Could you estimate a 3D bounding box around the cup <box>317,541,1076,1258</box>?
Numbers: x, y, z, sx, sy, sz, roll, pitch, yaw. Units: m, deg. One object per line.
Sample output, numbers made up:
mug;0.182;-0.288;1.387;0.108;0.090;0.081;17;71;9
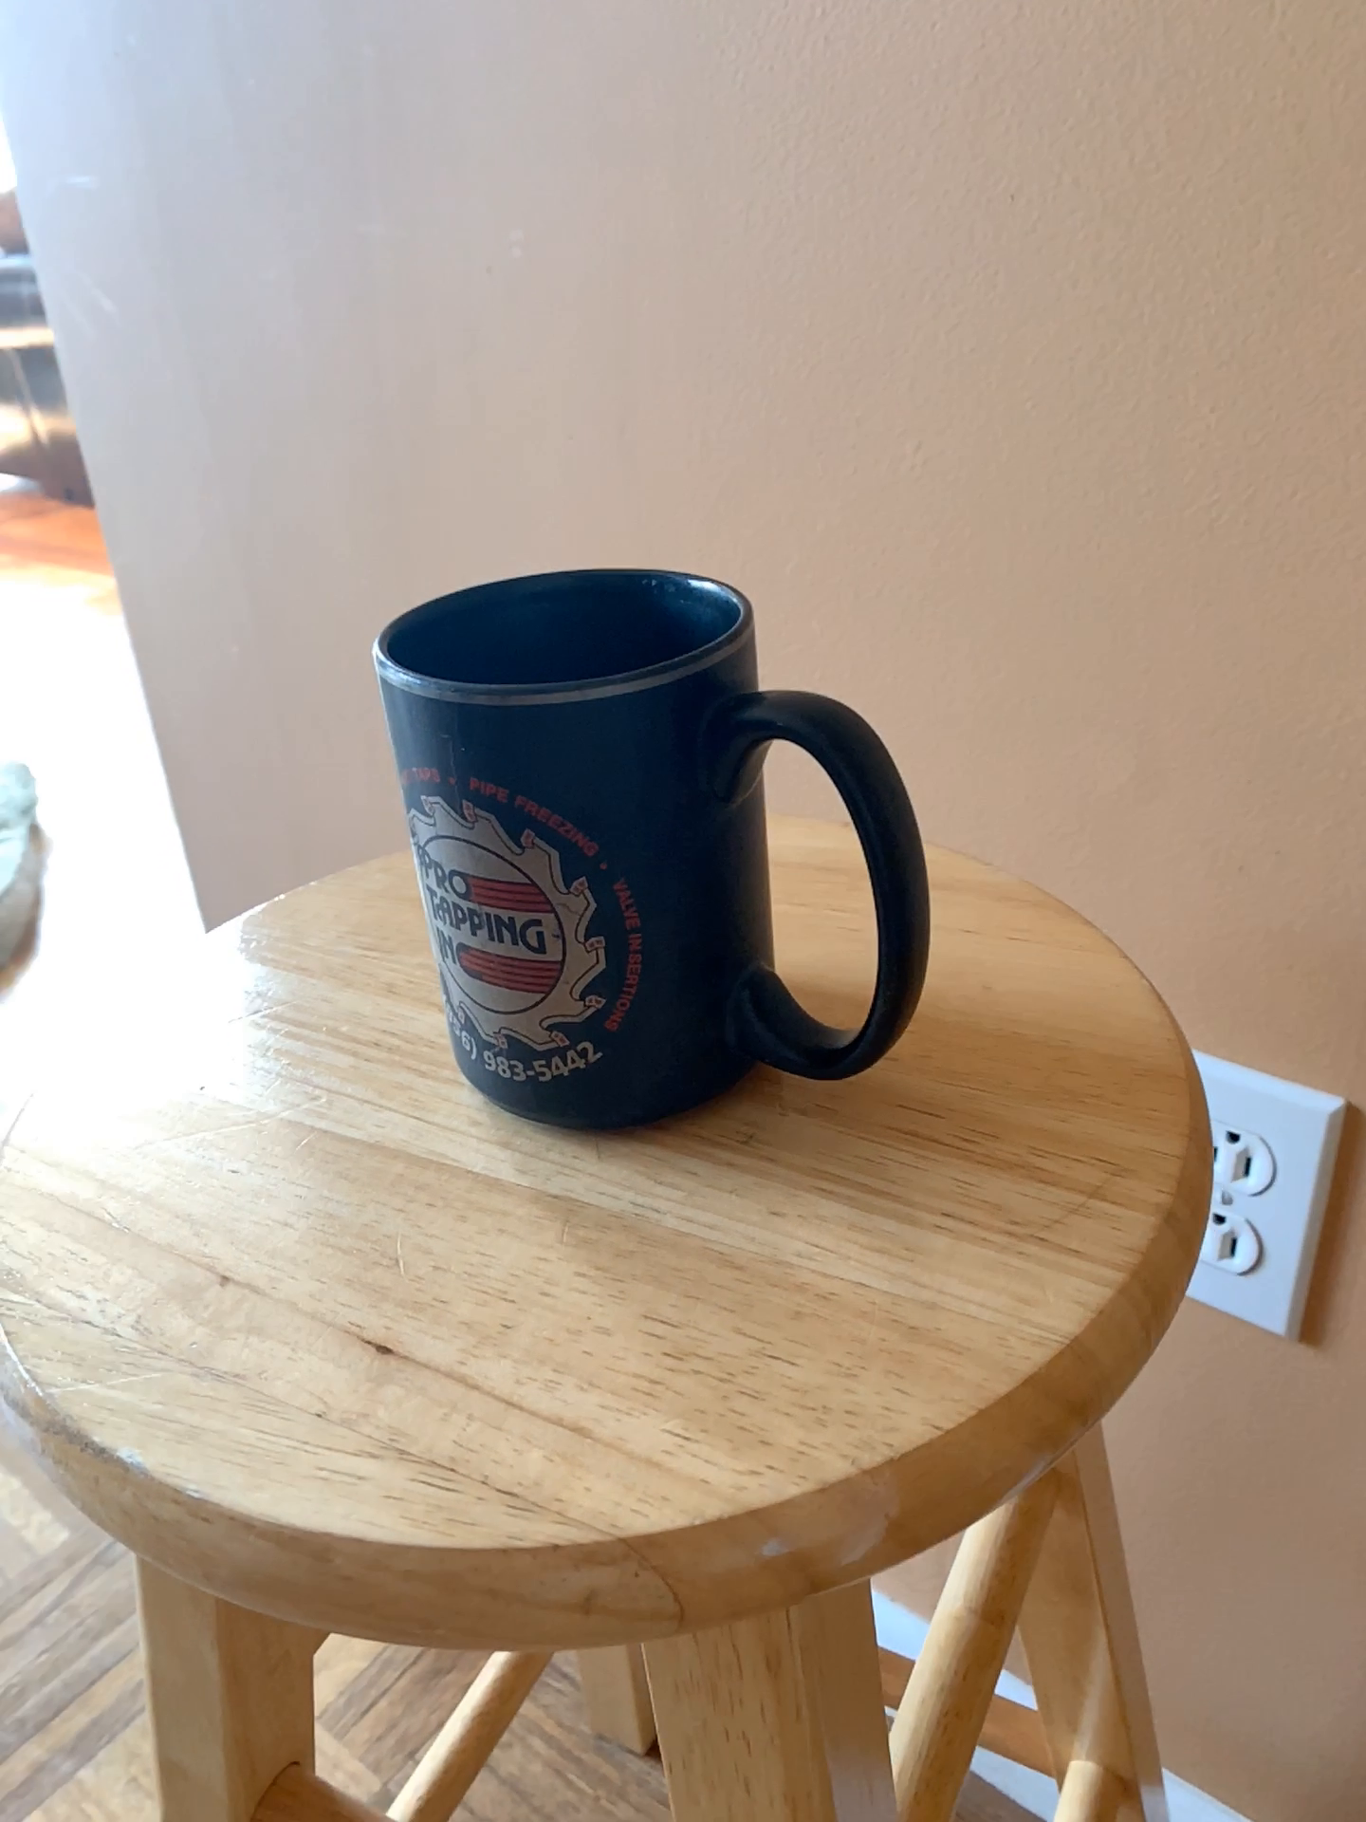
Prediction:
cup;0.008;-0.015;0.357;0.140;0.119;0.110;14;32;30
